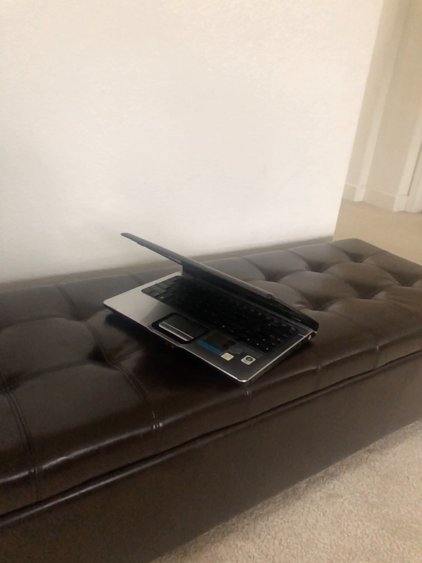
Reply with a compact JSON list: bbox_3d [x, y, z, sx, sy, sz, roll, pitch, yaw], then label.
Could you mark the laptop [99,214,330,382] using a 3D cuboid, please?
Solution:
[{"bbox_3d":[-0.002,0.001,0.813,0.333,0.122,0.231,23,29,34],"label":"laptop"}]
